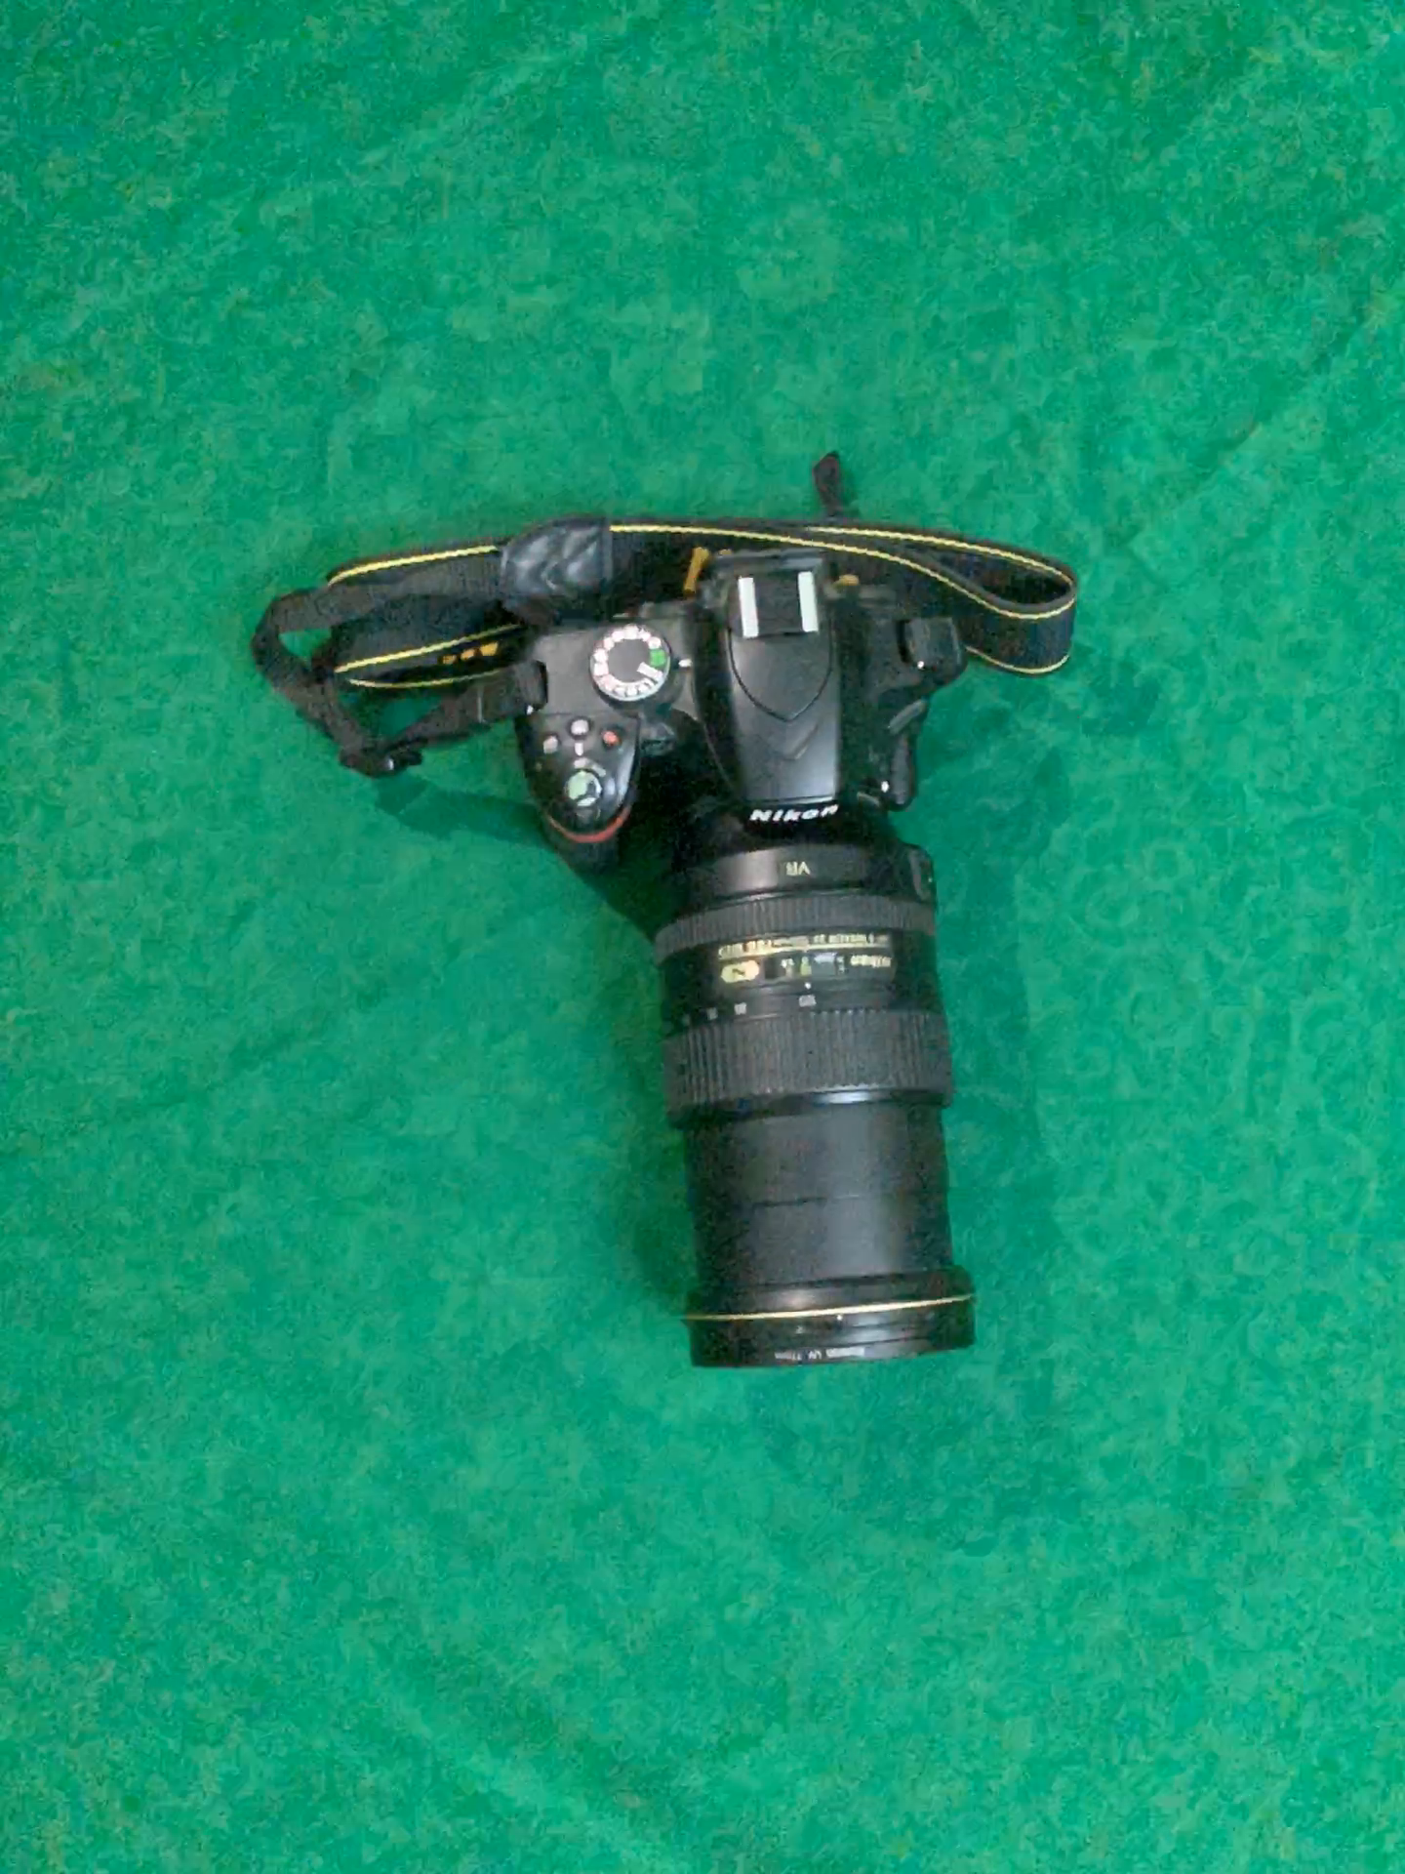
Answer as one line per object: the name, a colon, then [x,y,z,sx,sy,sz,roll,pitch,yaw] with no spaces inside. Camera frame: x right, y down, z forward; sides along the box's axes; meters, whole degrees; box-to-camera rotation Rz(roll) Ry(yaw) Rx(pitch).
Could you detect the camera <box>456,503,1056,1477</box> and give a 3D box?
camera: [0.009,0.014,0.406,0.122,0.088,0.234,-7,79,-2]
